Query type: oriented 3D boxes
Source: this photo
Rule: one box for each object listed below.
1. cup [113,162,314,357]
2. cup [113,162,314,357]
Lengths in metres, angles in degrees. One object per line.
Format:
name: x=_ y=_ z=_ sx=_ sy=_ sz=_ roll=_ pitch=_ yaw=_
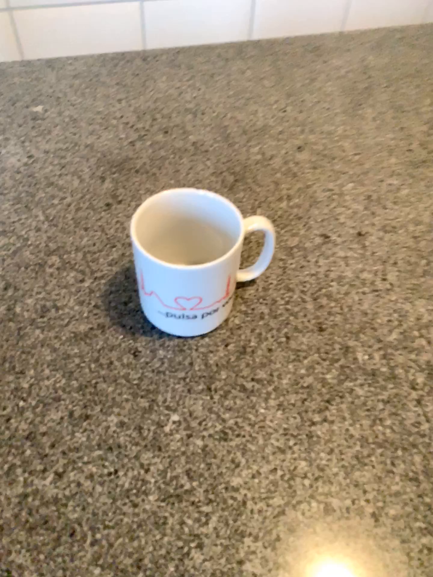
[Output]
cup: x=-0.008 y=-0.024 z=0.351 sx=0.120 sy=0.100 sz=0.090 roll=-13 pitch=54 yaw=-14
cup: x=-0.008 y=-0.024 z=0.351 sx=0.120 sy=0.100 sz=0.090 roll=-13 pitch=54 yaw=-14
